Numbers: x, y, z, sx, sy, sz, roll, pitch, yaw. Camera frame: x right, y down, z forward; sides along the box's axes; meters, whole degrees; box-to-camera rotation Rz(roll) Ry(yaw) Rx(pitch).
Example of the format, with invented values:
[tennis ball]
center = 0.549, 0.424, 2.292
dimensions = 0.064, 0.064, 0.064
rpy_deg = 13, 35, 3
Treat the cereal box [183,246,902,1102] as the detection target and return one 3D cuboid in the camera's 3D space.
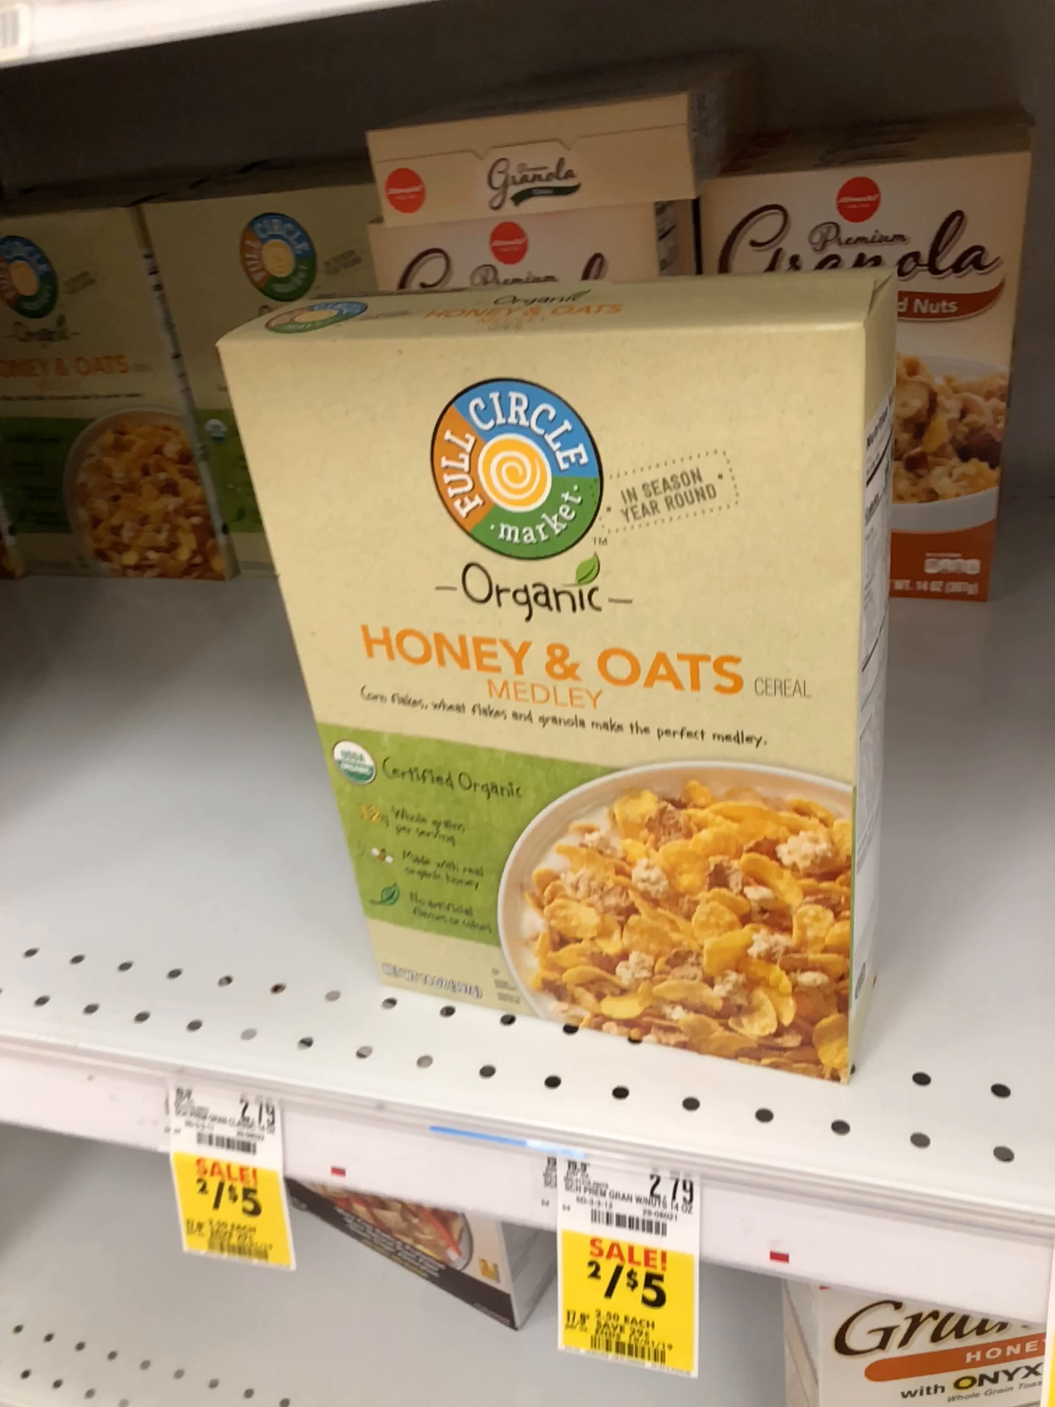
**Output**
[cereal box]
center = 0.016, -0.003, 0.385
dimensions = 0.190, 0.259, 0.060
rpy_deg = 6, 33, 23
